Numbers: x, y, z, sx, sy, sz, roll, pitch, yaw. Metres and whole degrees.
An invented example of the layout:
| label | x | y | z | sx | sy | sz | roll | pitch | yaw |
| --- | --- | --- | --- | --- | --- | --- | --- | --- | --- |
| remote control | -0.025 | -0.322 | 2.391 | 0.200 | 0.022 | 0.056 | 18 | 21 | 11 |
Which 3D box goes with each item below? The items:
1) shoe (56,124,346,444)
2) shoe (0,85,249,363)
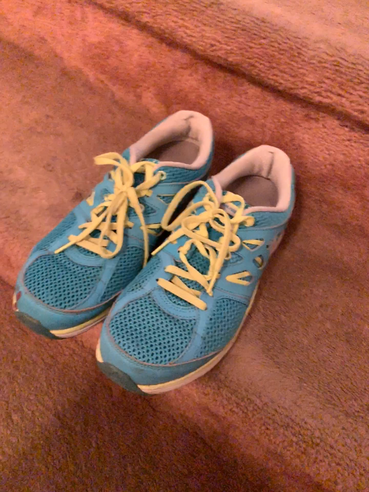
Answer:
| label | x | y | z | sx | sy | sz | roll | pitch | yaw |
| --- | --- | --- | --- | --- | --- | --- | --- | --- | --- |
| shoe | 0.033 | 0.005 | 0.346 | 0.110 | 0.099 | 0.282 | 32 | 48 | 15 |
| shoe | -0.056 | -0.047 | 0.373 | 0.110 | 0.099 | 0.282 | 29 | 47 | 13 |
